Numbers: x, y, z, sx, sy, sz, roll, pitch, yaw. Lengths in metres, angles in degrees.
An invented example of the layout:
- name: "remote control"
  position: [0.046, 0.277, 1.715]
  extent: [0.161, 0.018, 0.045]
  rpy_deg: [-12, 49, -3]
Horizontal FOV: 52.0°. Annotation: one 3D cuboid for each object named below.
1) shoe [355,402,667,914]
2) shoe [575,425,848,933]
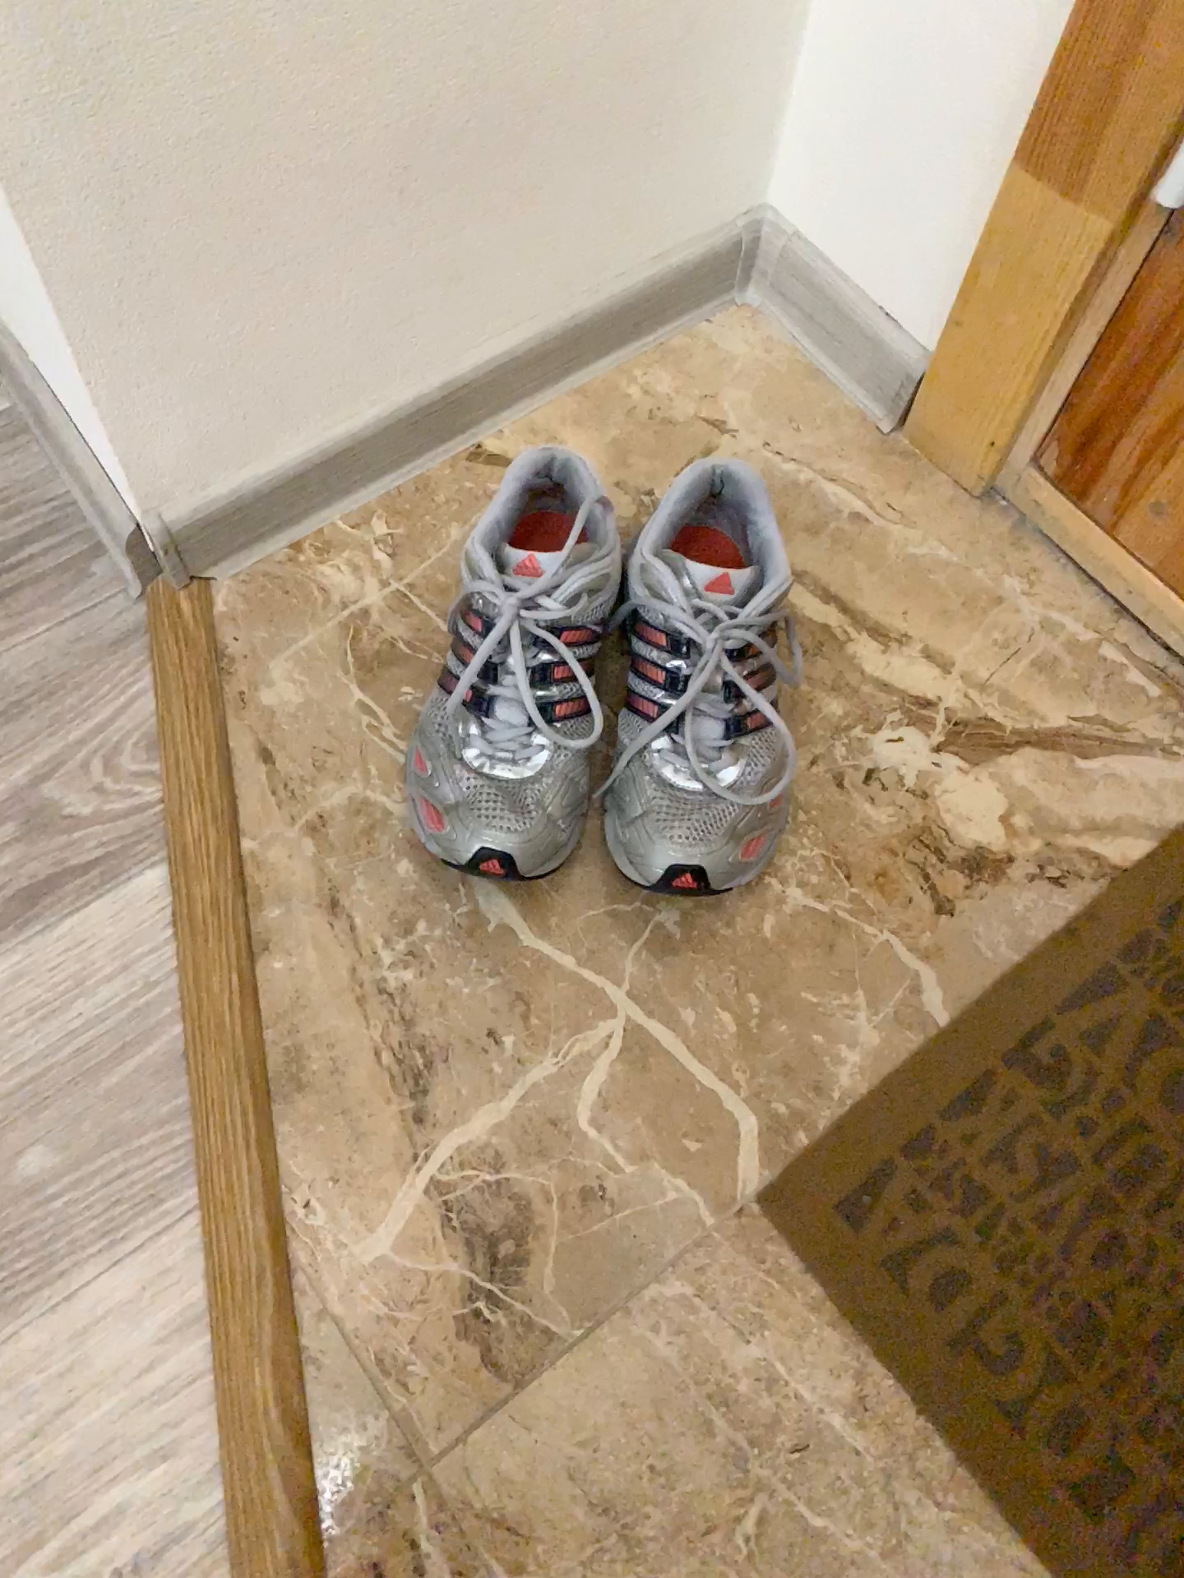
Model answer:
- name: "shoe"
  position: [-0.035, -0.071, 0.629]
  extent: [0.110, 0.090, 0.241]
  rpy_deg: [9, 63, 1]
- name: "shoe"
  position: [0.064, -0.060, 0.634]
  extent: [0.110, 0.090, 0.241]
  rpy_deg: [8, 63, 0]
